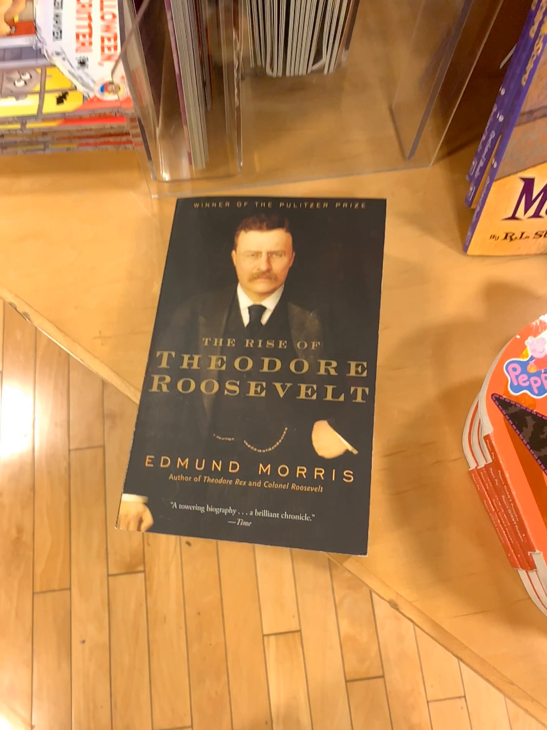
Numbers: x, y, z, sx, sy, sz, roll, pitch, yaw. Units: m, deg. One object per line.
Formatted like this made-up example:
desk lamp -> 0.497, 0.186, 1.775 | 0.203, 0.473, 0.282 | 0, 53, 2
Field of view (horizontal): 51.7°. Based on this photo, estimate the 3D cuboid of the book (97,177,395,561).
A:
book -> -0.007, 0.001, 0.324 | 0.130, 0.066, 0.195 | 6, 72, 2
